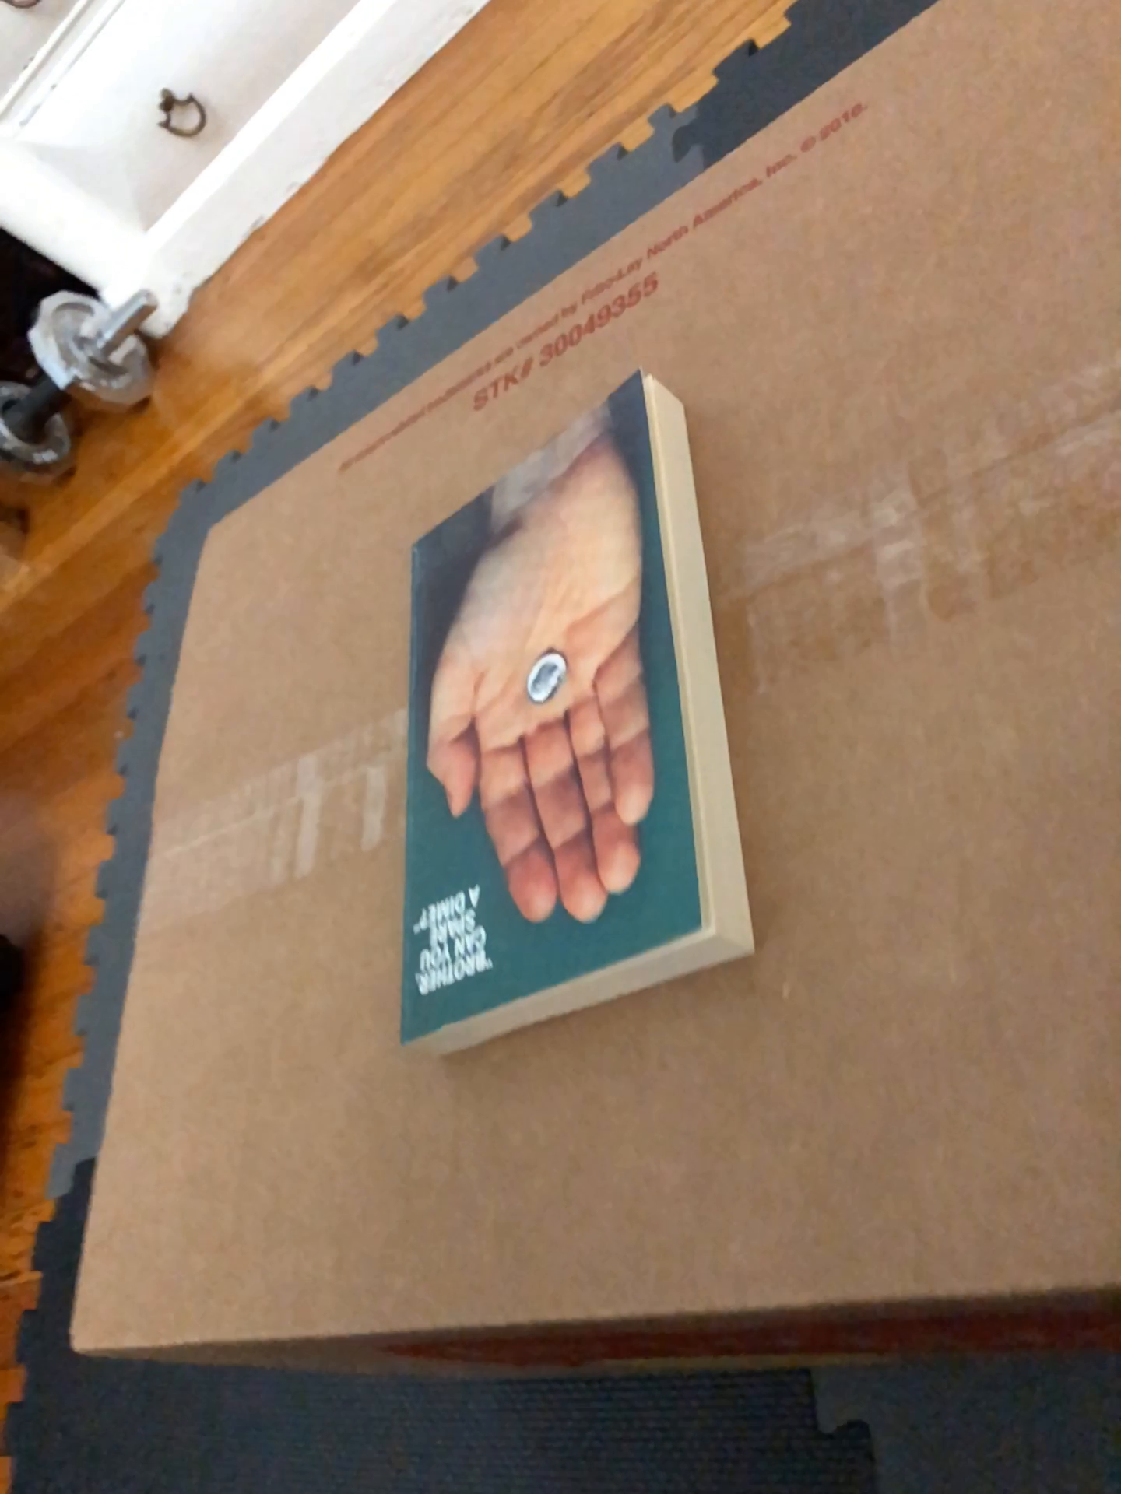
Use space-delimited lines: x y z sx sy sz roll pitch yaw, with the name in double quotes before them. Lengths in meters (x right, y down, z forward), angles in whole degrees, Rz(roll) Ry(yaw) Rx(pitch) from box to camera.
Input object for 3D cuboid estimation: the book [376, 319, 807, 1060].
"book" -0.002 -0.018 0.344 0.120 0.020 0.181 -27 52 34
